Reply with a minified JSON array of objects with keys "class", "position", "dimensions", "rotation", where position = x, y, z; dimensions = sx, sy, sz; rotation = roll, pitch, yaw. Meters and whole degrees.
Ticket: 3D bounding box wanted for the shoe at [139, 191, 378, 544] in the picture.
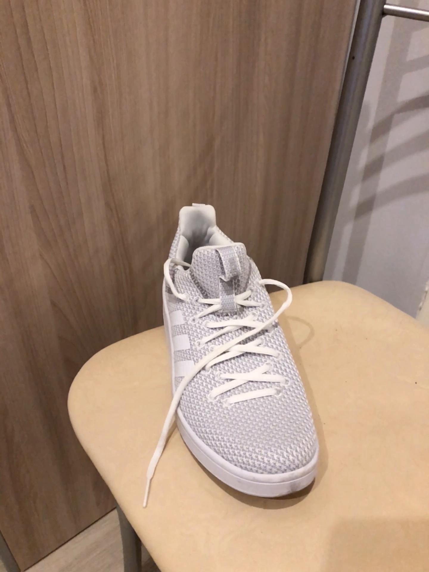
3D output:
[{"class":"shoe","position":[0.009,0.041,0.435],"dimensions":[0.110,0.129,0.302],"rotation":[-8,38,-12]}]
